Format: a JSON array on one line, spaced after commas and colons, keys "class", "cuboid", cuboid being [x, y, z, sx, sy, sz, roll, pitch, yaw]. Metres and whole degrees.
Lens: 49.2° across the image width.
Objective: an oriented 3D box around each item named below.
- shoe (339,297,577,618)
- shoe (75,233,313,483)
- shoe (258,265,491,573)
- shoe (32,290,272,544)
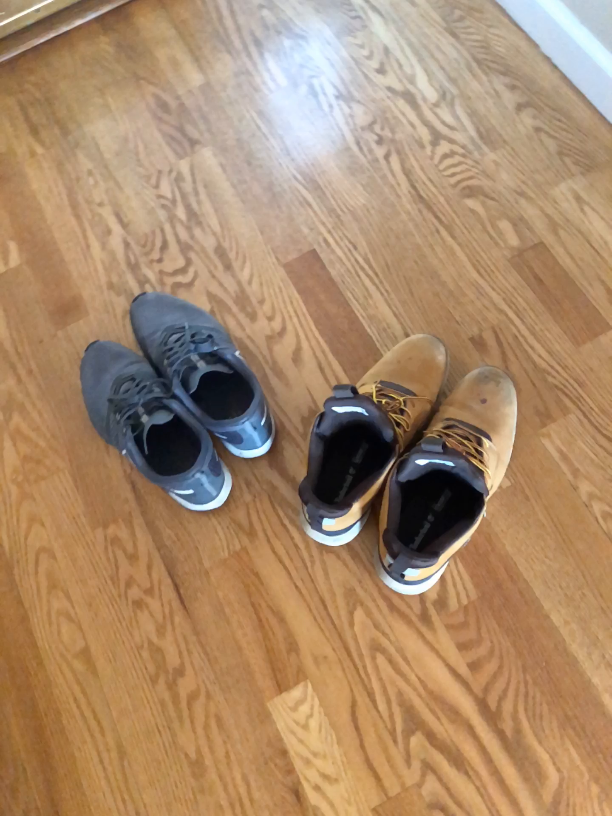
[{"class": "shoe", "cuboid": [0.173, 0.059, 0.773, 0.130, 0.140, 0.320, 25, 75, 15]}, {"class": "shoe", "cuboid": [-0.156, -0.073, 0.930, 0.140, 0.100, 0.330, -40, 71, -9]}, {"class": "shoe", "cuboid": [0.088, 0.015, 0.805, 0.130, 0.140, 0.320, 25, 75, 15]}, {"class": "shoe", "cuboid": [-0.208, 0.009, 0.905, 0.140, 0.100, 0.320, -40, 71, -9]}]
